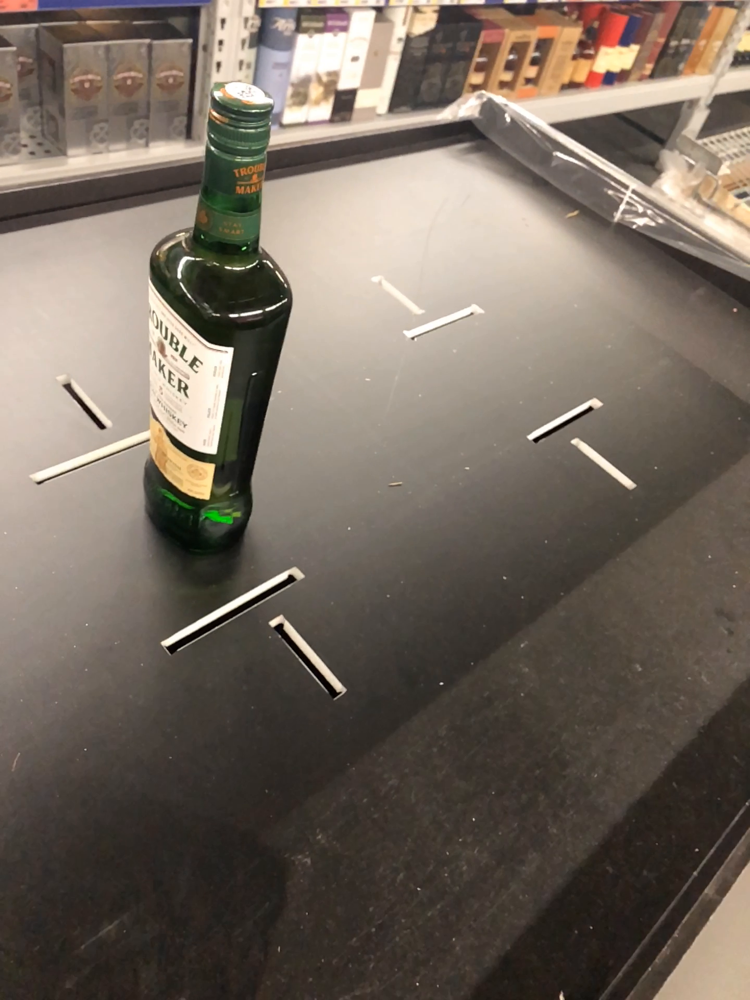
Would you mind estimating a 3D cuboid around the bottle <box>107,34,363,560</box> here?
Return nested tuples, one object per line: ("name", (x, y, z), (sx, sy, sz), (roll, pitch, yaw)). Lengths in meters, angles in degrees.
("bottle", (-0.102, -0.105, 0.506), (0.080, 0.298, 0.100), (-23, 59, -34))
